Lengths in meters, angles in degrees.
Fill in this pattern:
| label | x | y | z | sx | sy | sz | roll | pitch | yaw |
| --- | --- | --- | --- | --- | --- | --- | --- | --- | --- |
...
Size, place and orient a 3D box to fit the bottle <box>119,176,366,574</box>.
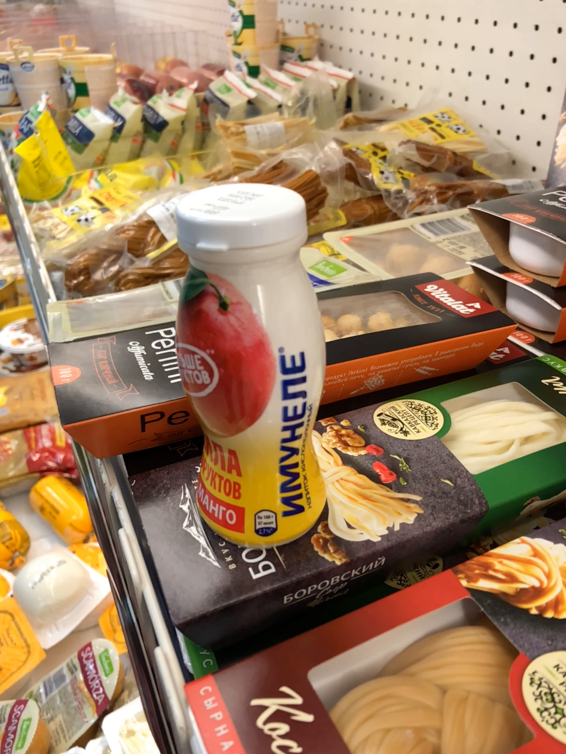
| label | x | y | z | sx | sy | sz | roll | pitch | yaw |
| --- | --- | --- | --- | --- | --- | --- | --- | --- | --- |
| bottle | -0.010 | -0.001 | 0.187 | 0.044 | 0.099 | 0.046 | -1 | 33 | 1 |
